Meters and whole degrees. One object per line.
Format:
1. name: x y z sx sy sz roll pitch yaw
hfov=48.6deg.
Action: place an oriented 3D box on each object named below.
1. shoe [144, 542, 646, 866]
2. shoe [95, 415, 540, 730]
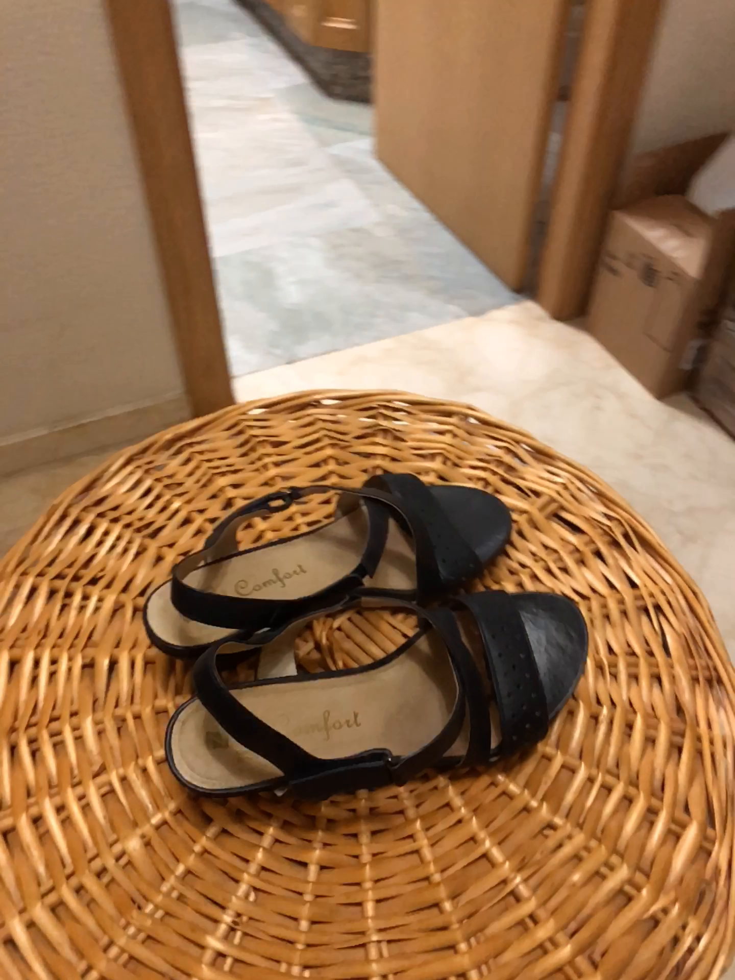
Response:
1. shoe: 0.014 0.111 0.457 0.247 0.092 0.100 -6 56 -26
2. shoe: -0.028 0.042 0.508 0.248 0.089 0.090 -17 49 -26
